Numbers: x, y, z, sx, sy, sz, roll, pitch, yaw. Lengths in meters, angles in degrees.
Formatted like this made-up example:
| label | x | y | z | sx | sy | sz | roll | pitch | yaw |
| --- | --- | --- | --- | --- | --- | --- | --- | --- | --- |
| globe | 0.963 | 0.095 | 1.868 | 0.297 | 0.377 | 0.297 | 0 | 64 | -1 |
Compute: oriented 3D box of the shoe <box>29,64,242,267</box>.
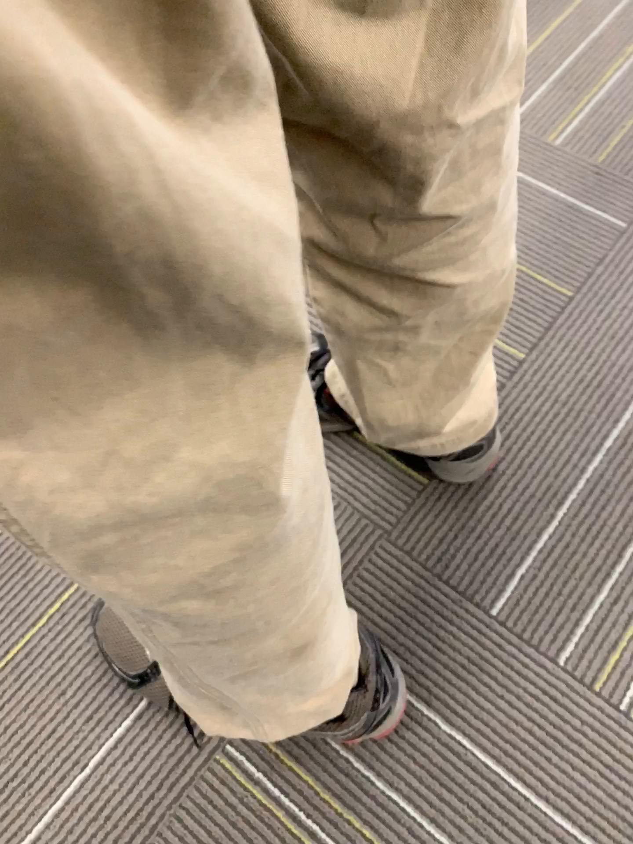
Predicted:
| label | x | y | z | sx | sy | sz | roll | pitch | yaw |
| --- | --- | --- | --- | --- | --- | --- | --- | --- | --- |
| shoe | -0.248 | -0.358 | 0.898 | 0.138 | 0.085 | 0.280 | -39 | 67 | -15 |

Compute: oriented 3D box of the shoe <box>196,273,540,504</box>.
| label | x | y | z | sx | sy | sz | roll | pitch | yaw |
| --- | --- | --- | --- | --- | --- | --- | --- | --- | --- |
| shoe | 0.053 | -0.041 | 0.714 | 0.327 | 0.087 | 0.134 | 19 | 66 | 13 |

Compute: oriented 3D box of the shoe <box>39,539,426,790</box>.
| label | x | y | z | sx | sy | sz | roll | pitch | yaw |
| --- | --- | --- | --- | --- | --- | --- | --- | --- | --- |
| shoe | -0.070 | 0.220 | 0.608 | 0.315 | 0.087 | 0.131 | 12 | 64 | 10 |

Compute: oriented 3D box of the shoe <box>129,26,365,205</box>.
| label | x | y | z | sx | sy | sz | roll | pitch | yaw |
| --- | --- | --- | --- | --- | --- | --- | --- | --- | --- |
| shoe | -0.099 | -0.449 | 0.947 | 0.316 | 0.087 | 0.131 | 30 | 69 | 18 |
